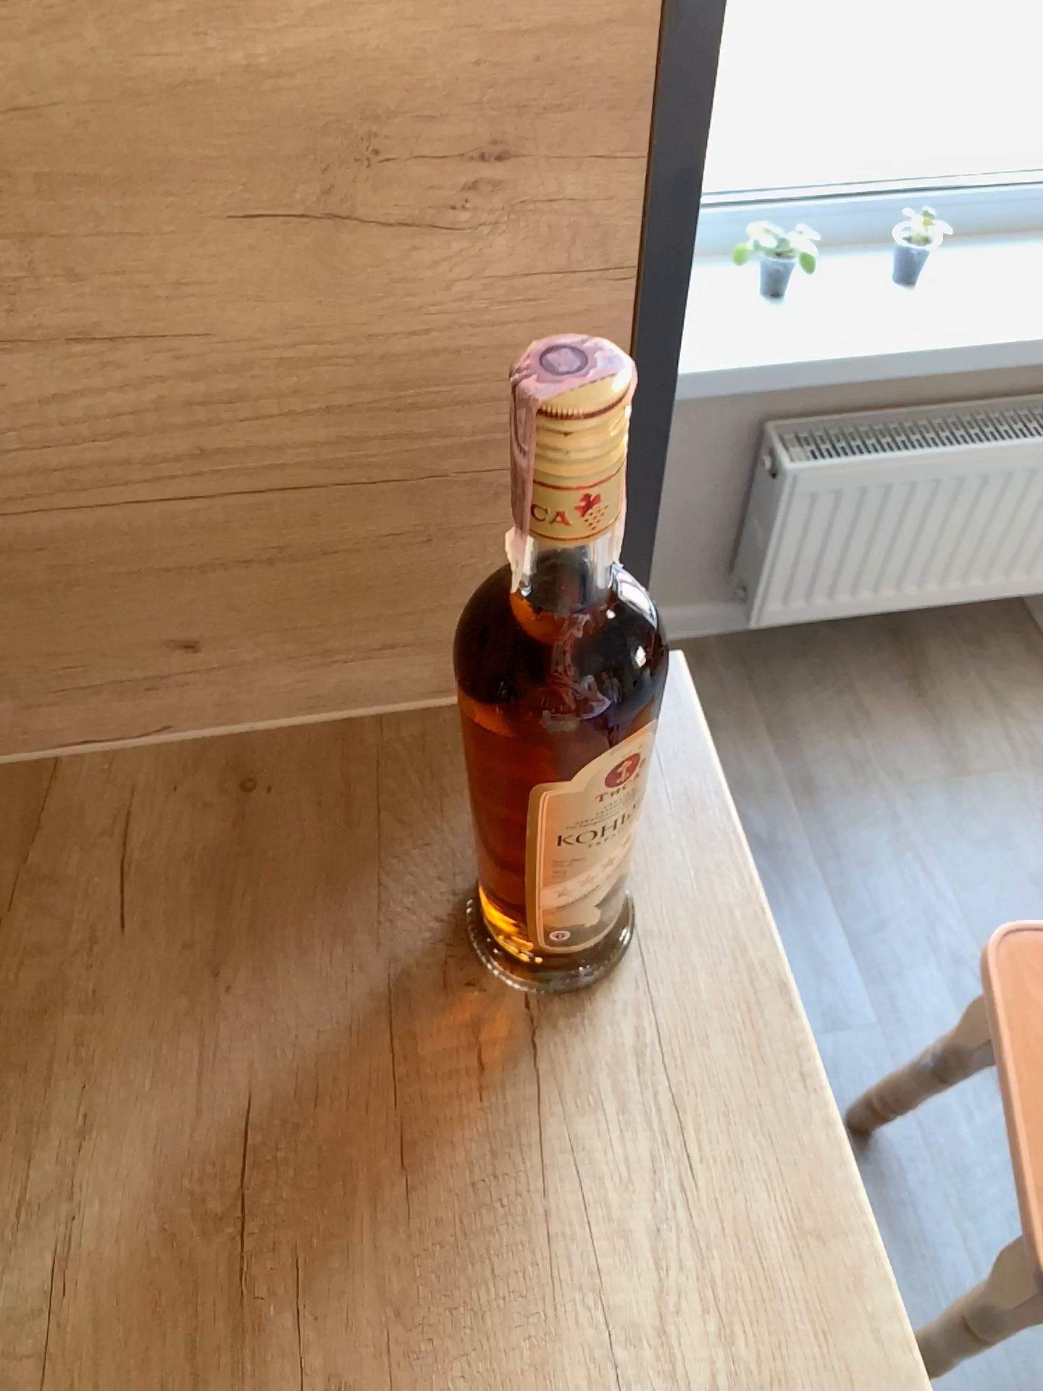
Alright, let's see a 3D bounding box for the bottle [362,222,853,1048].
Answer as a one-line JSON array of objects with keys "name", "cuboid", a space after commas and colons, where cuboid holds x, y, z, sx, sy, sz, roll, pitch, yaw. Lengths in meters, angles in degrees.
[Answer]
[{"name": "bottle", "cuboid": [0.018, 0.010, 0.343, 0.080, 0.279, 0.070, -30, 58, -22]}]
